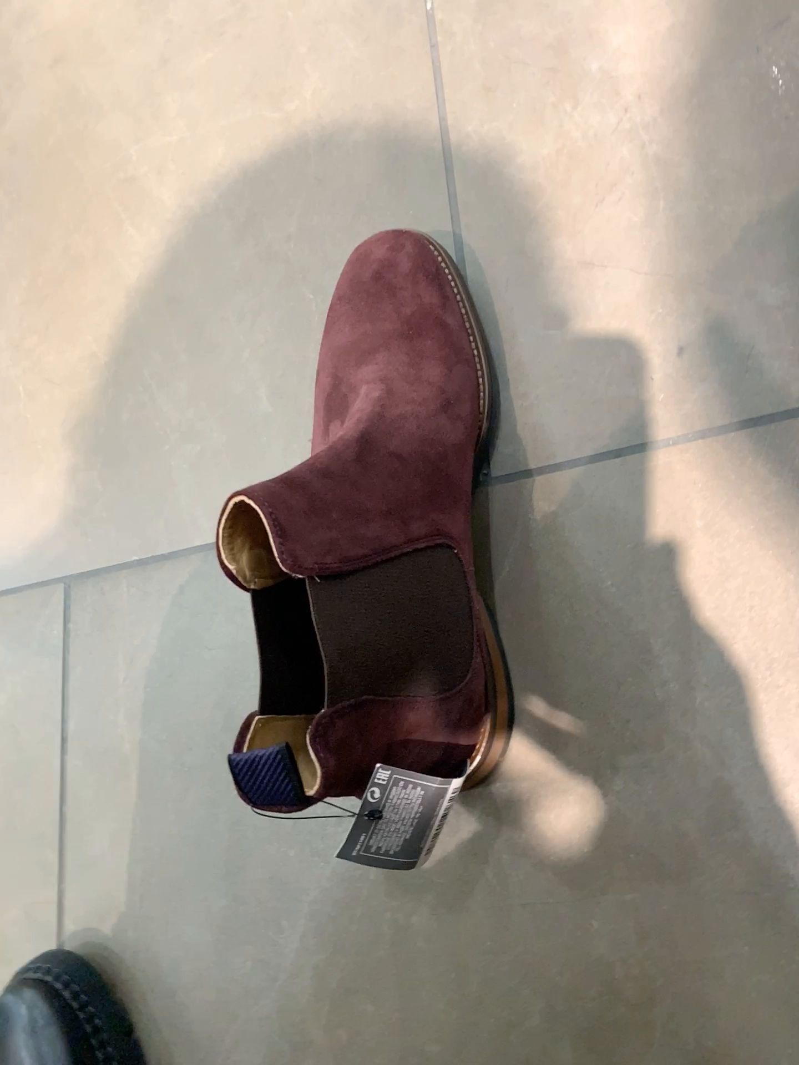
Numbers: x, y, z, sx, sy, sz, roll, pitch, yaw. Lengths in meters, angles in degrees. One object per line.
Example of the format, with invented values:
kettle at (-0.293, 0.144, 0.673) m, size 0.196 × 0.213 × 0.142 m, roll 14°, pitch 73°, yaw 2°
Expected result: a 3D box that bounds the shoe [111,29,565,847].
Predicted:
shoe at (-0.027, -0.029, 0.376) m, size 0.114 × 0.161 × 0.298 m, roll -14°, pitch 72°, yaw 24°
